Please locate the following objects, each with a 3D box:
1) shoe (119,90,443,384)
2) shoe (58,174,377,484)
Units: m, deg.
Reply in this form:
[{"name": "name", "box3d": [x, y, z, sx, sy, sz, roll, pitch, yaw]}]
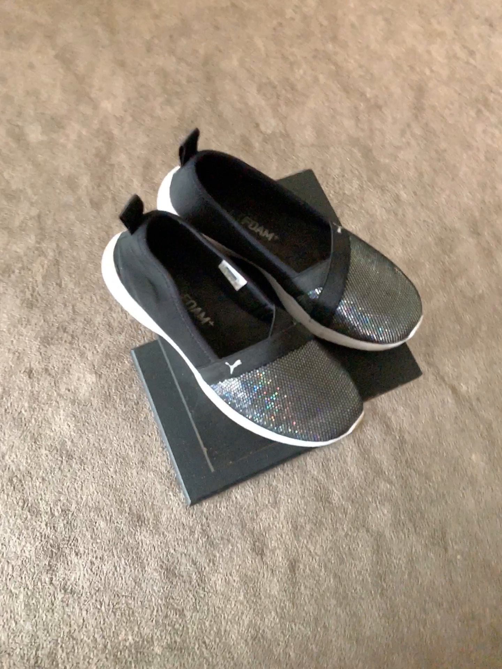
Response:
[{"name": "shoe", "box3d": [0.024, -0.072, 0.442, 0.260, 0.080, 0.090, 36, 72, -8]}, {"name": "shoe", "box3d": [-0.028, 0.001, 0.416, 0.240, 0.080, 0.090, 43, 73, -3]}]
